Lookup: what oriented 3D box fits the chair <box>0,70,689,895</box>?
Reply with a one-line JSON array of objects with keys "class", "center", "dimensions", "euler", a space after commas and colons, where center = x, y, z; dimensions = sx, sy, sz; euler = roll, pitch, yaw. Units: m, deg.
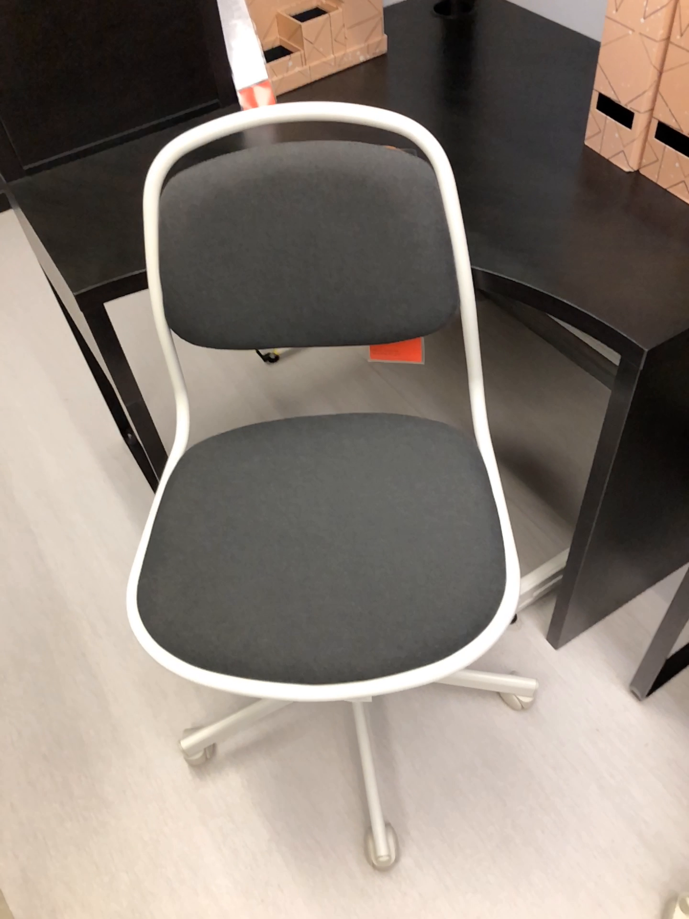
[{"class": "chair", "center": [-0.030, 0.116, 1.009], "dimensions": [0.660, 0.905, 0.624], "euler": [-5, 50, 2]}]
